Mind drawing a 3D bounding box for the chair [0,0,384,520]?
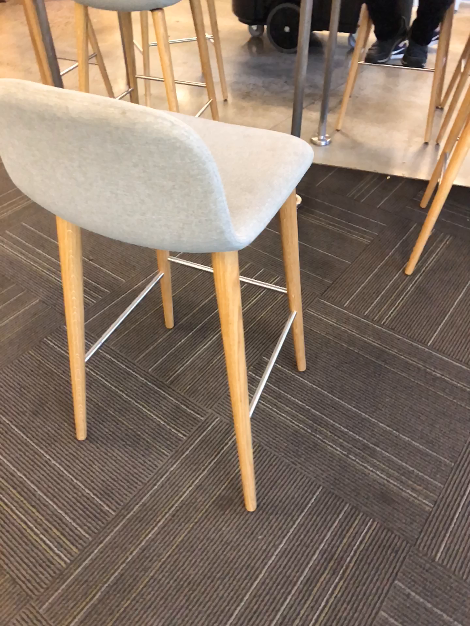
[{"bbox_3d":[-0.105,-0.131,1.125,0.571,0.945,0.562,16,45,17],"label":"chair"}]
